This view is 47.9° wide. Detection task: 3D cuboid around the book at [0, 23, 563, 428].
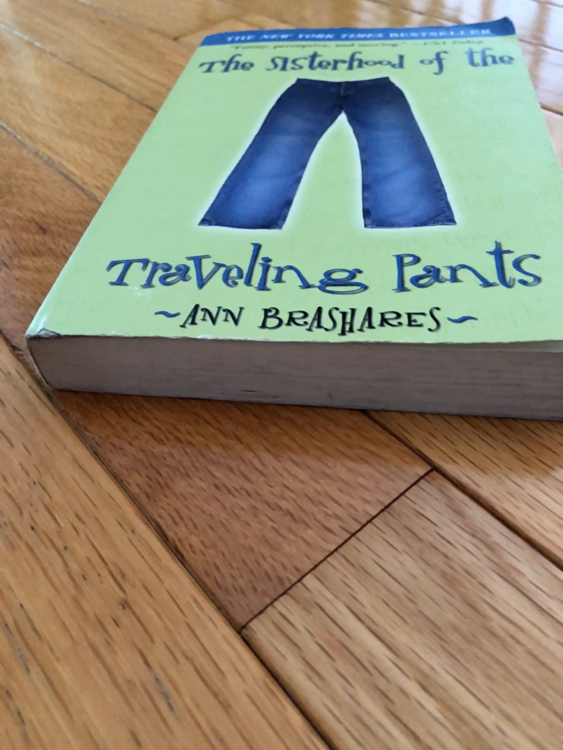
[{"bbox_3d":[0.013,-0.074,0.221,0.141,0.025,0.210,3,45,8],"label":"book"}]
